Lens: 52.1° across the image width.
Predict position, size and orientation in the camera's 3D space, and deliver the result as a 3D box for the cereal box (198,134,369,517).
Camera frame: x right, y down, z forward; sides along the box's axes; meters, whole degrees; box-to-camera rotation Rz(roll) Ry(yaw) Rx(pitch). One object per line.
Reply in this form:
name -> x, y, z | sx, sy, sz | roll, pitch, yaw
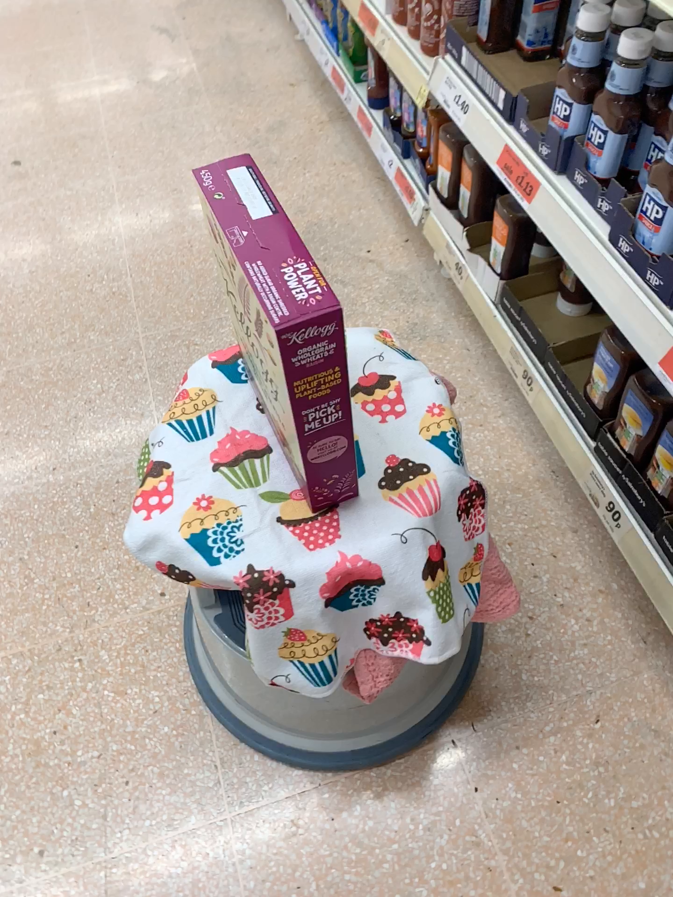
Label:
cereal box -> -0.039, -0.094, 0.582 | 0.050, 0.248, 0.202 | -20, 54, -9
